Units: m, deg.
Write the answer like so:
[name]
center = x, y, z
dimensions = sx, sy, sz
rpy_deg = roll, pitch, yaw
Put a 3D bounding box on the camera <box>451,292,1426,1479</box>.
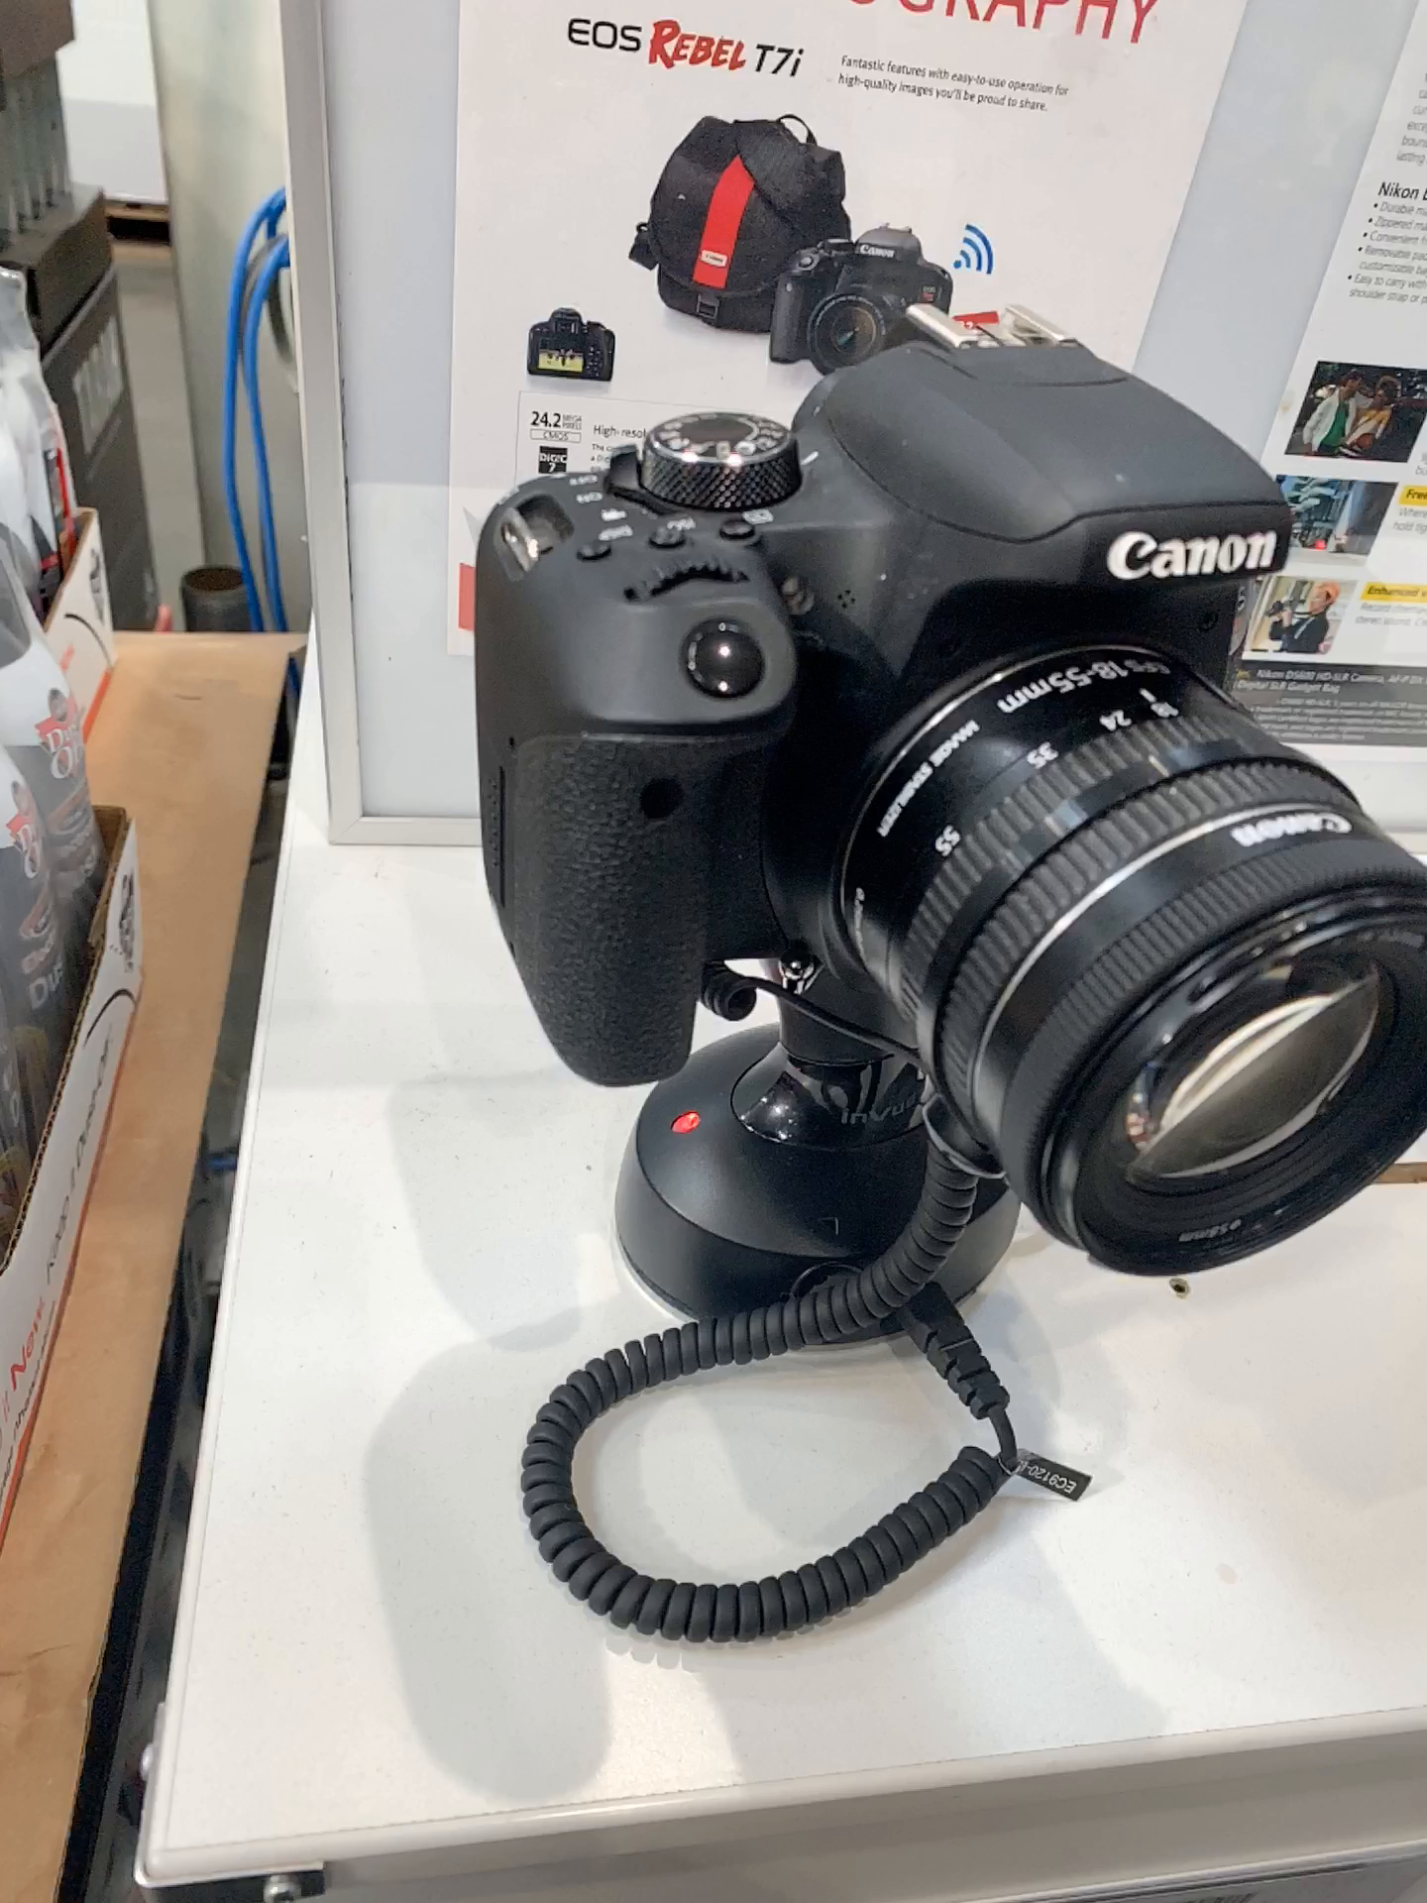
[camera]
center = 0.043, -0.023, 0.198
dimensions = 0.134, 0.089, 0.121
rpy_deg = -7, 40, -19
